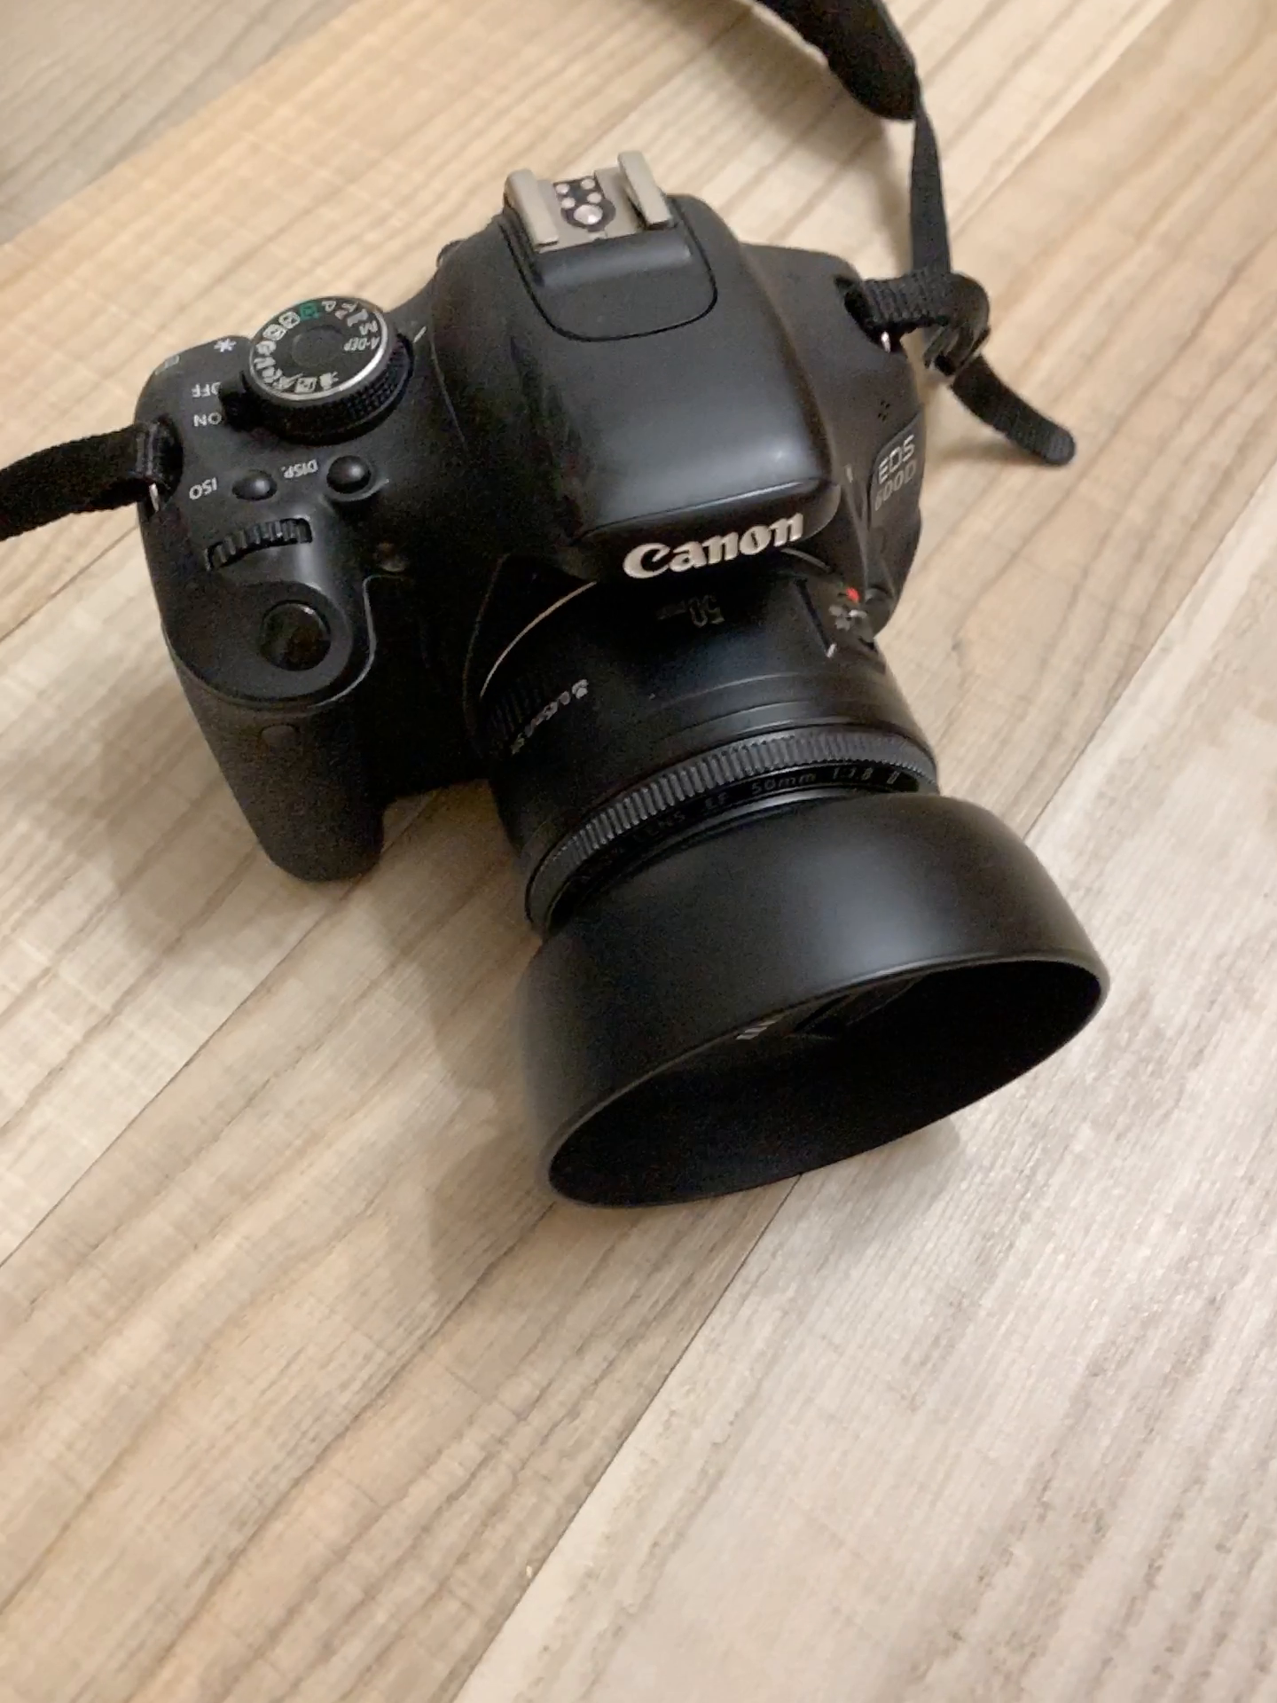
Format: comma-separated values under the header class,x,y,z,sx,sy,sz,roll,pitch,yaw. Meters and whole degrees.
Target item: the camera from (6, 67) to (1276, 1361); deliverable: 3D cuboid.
class,x,y,z,sx,sy,sz,roll,pitch,yaw
camera,-0.005,-0.024,0.208,0.139,0.090,0.151,-14,63,-8
